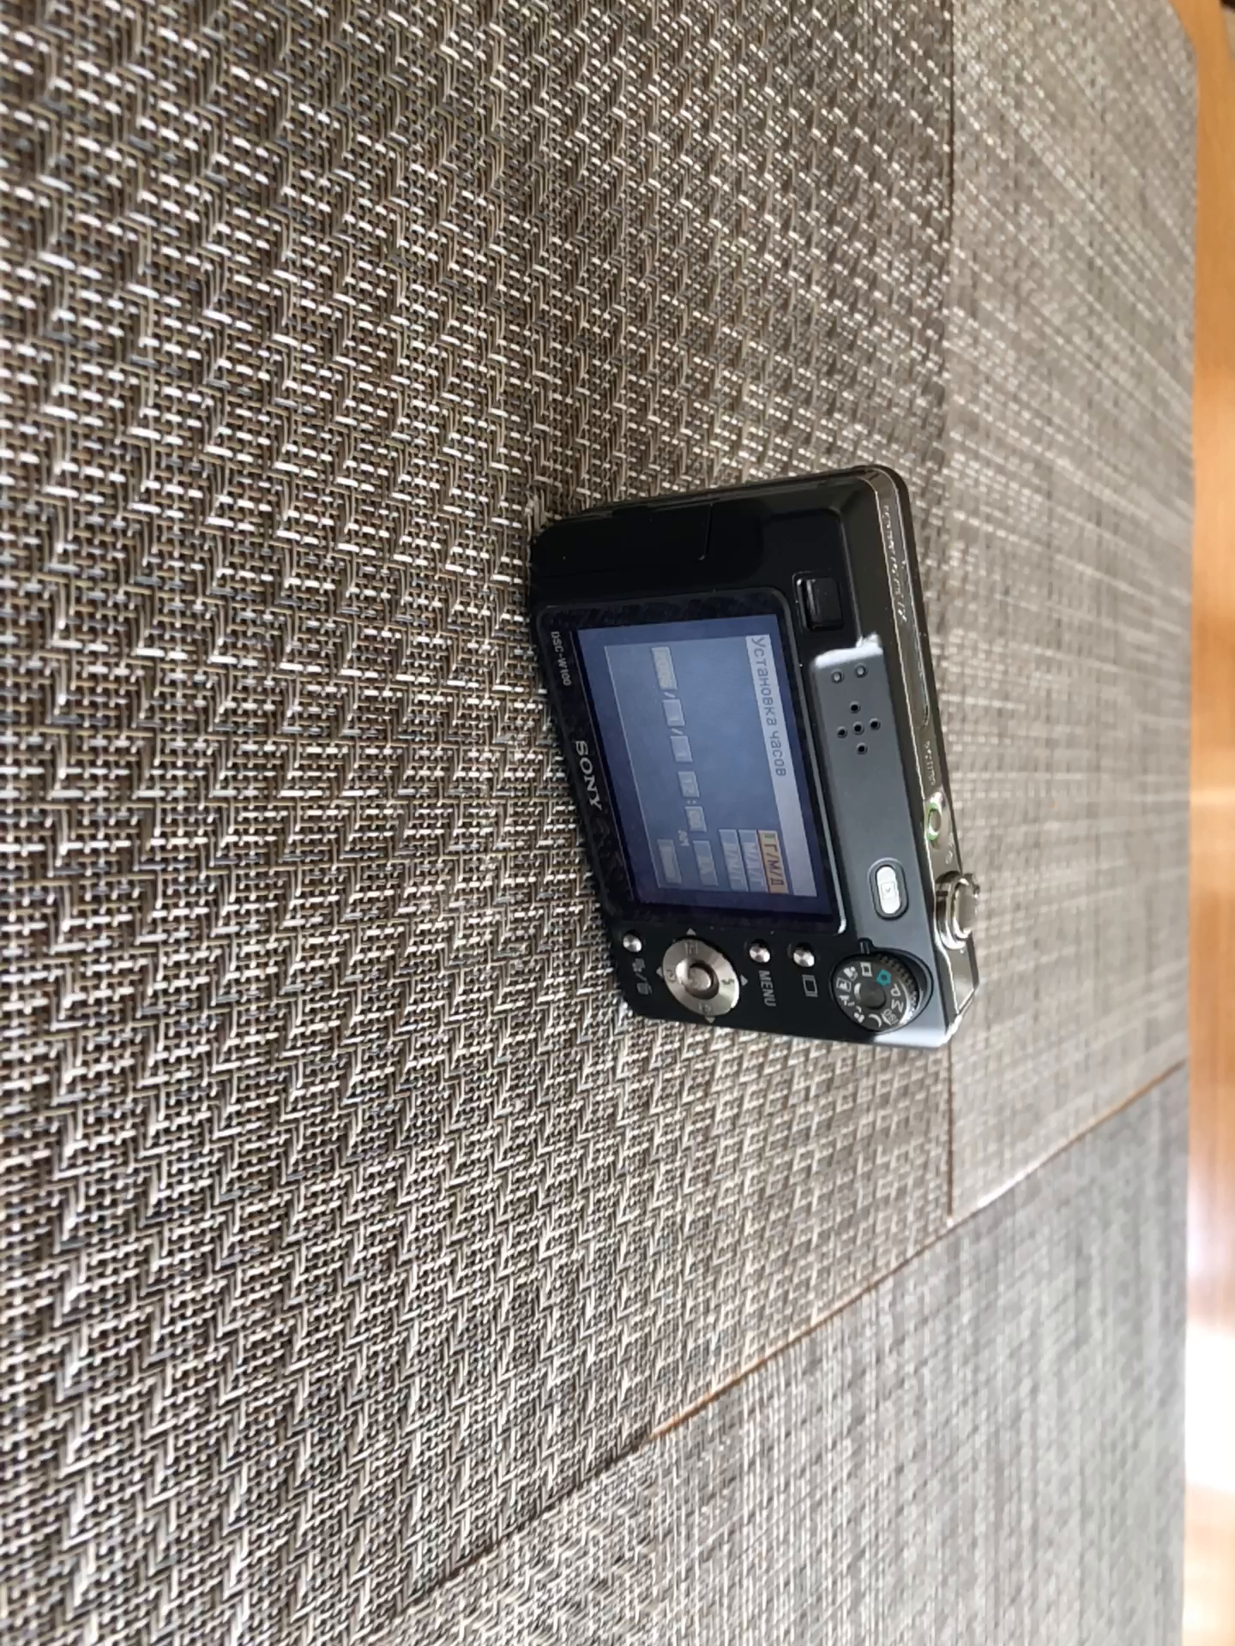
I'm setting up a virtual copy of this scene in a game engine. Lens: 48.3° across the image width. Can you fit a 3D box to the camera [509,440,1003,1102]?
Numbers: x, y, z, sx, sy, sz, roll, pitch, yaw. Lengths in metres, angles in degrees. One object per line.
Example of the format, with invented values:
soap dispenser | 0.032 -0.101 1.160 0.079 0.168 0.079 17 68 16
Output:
camera | 0.027 -0.010 0.236 0.049 0.052 0.095 -36 120 -49
